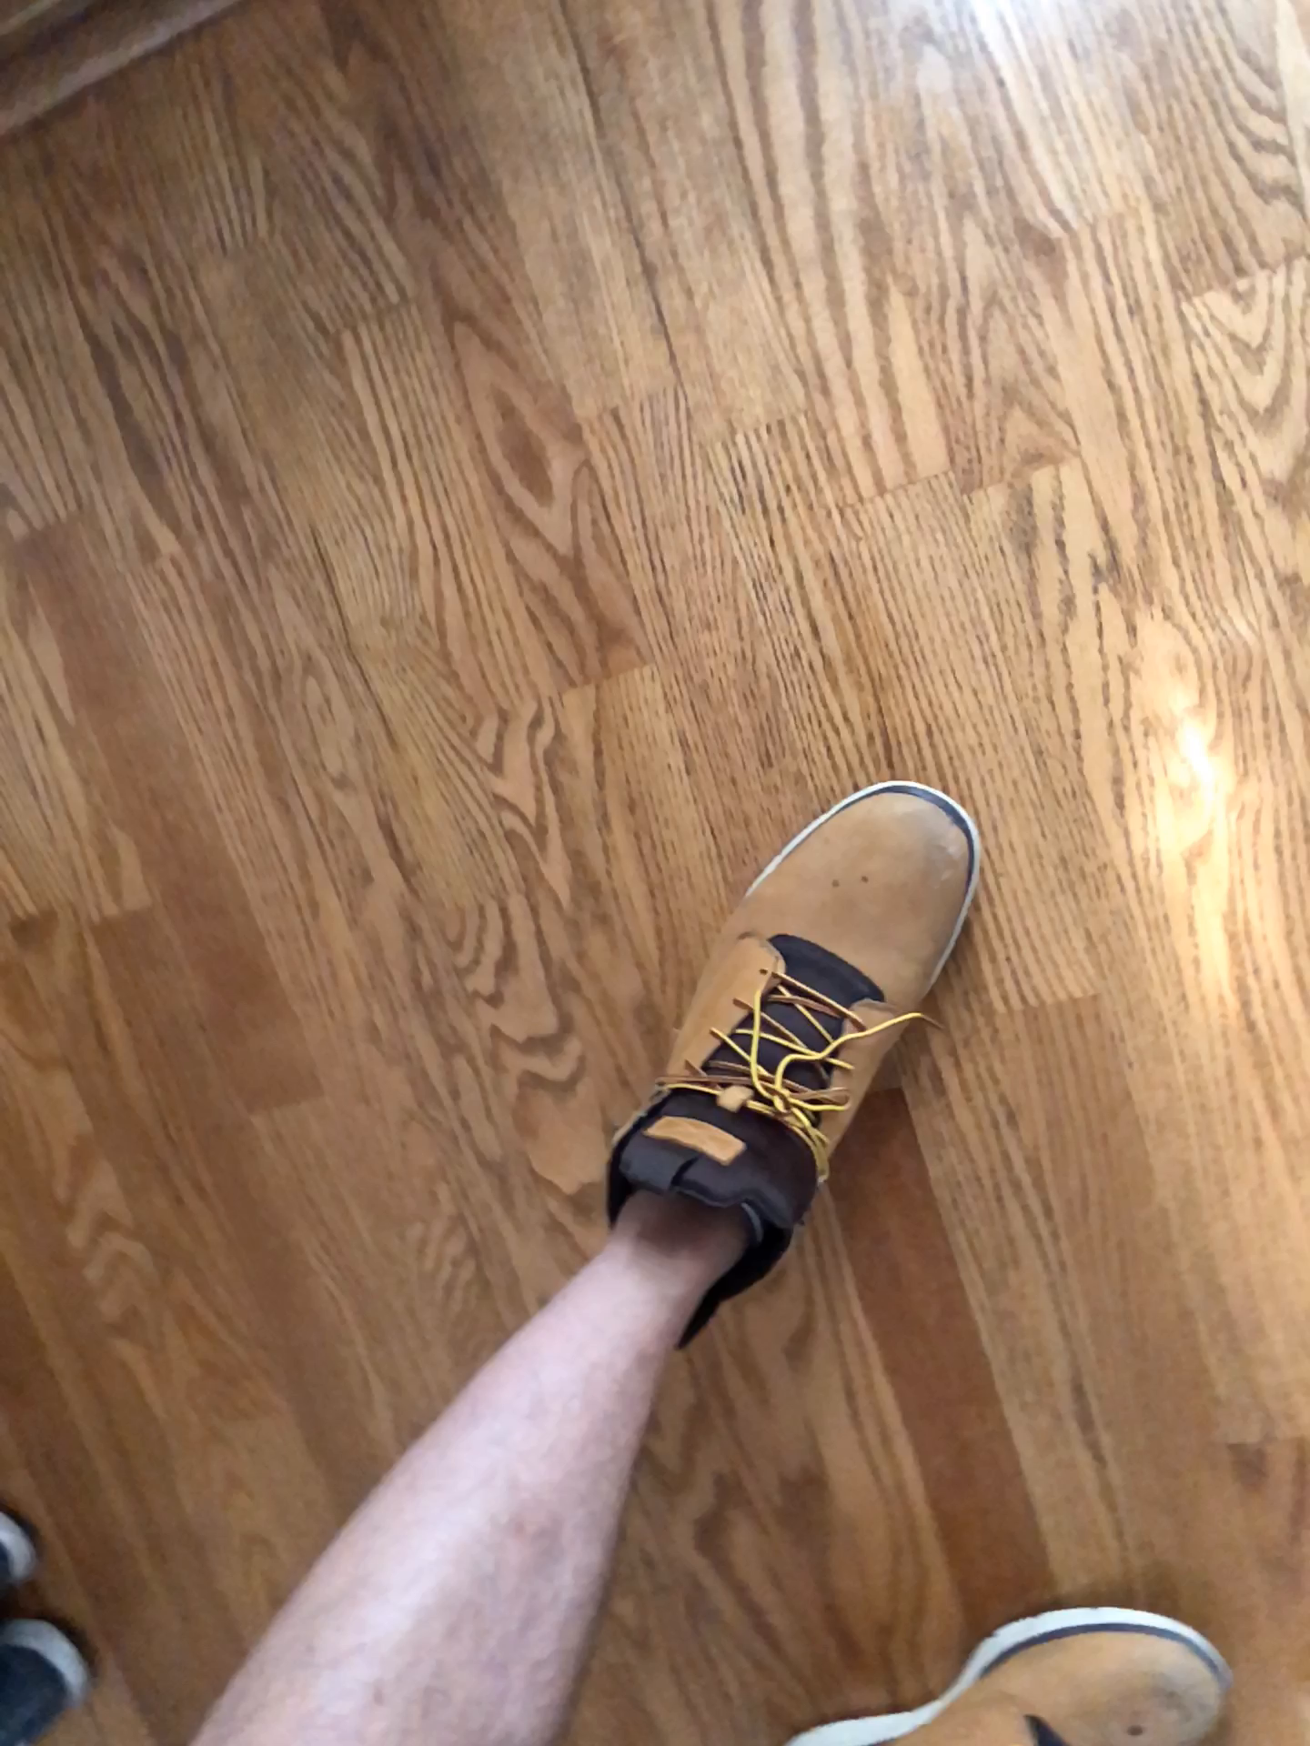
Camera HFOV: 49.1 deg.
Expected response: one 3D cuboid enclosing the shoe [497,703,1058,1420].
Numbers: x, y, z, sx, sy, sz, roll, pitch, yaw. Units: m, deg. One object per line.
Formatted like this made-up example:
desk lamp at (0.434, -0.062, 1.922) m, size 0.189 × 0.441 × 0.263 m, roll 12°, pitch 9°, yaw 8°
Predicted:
shoe at (0.062, 0.084, 0.723) m, size 0.120 × 0.150 × 0.310 m, roll 29°, pitch 99°, yaw 6°
